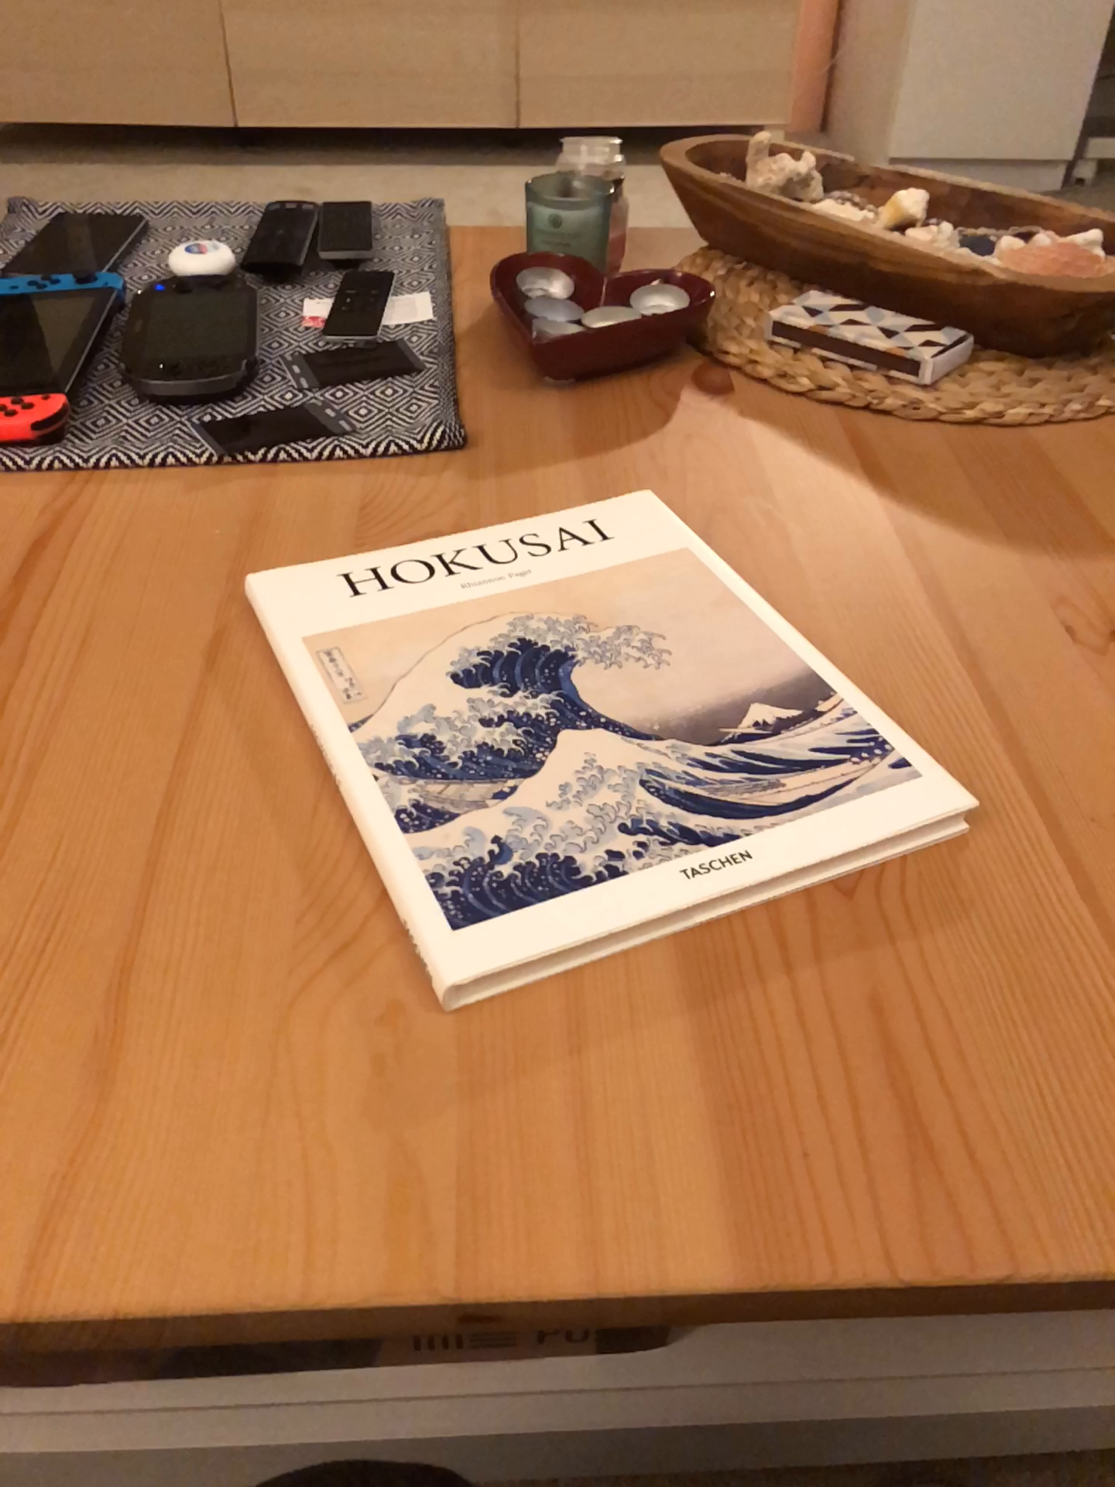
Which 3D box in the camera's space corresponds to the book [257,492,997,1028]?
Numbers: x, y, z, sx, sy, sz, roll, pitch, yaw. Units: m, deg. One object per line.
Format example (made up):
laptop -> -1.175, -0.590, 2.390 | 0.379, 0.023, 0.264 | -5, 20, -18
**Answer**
book -> 0.012, -0.019, 0.506 | 0.210, 0.020, 0.253 | -15, 43, -19
